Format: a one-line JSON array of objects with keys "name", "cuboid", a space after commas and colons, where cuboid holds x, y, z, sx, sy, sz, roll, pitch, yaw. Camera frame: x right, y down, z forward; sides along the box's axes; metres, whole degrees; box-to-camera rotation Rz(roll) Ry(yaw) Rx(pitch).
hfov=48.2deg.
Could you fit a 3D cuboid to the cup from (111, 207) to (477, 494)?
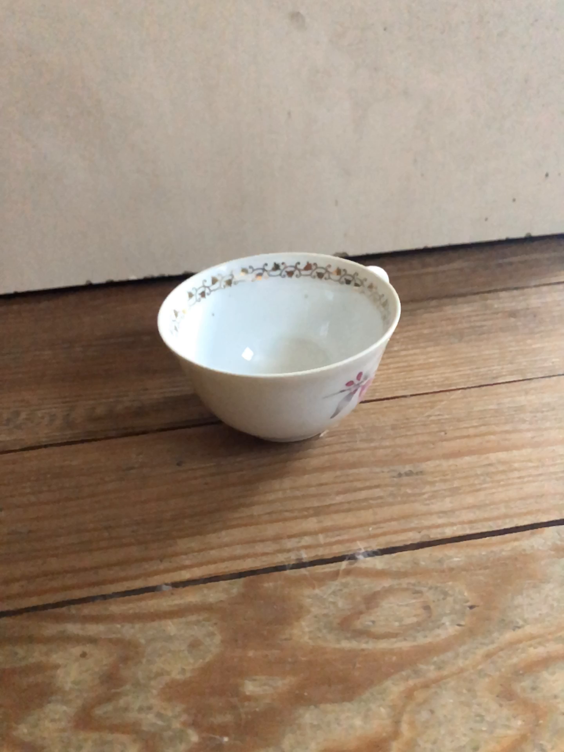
[{"name": "cup", "cuboid": [0.006, -0.018, 0.231, 0.101, 0.040, 0.080, -31, 45, -33]}]
